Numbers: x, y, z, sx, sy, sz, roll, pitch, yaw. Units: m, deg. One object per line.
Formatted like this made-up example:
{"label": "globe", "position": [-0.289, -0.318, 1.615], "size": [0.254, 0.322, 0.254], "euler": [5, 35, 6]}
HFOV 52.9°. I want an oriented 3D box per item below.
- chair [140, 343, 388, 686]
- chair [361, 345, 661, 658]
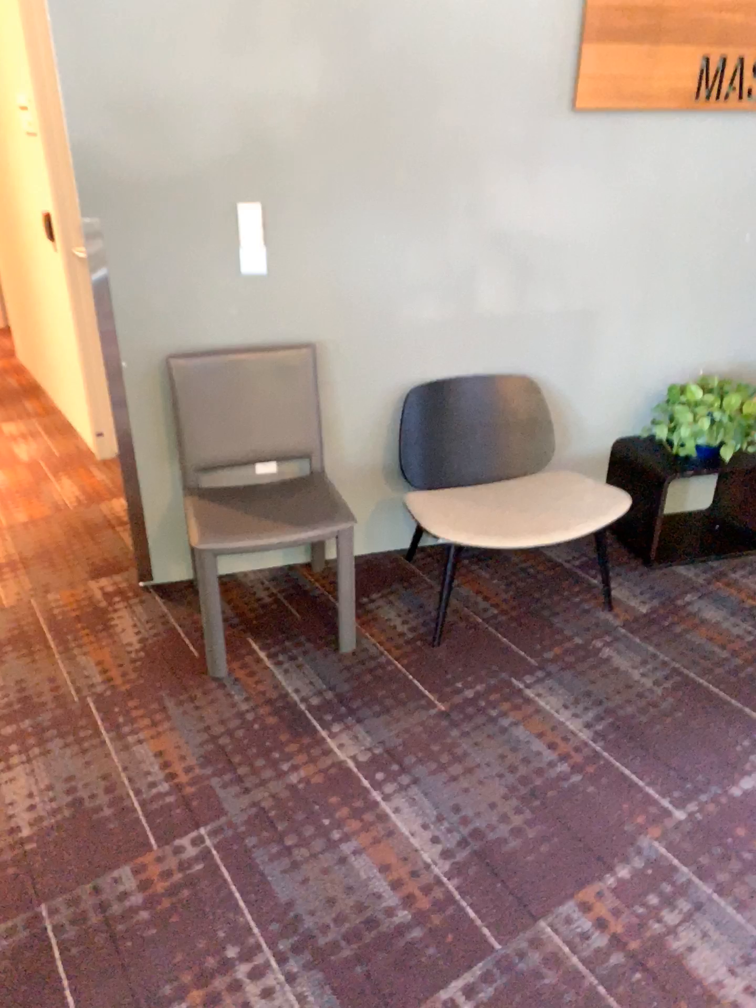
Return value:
{"label": "chair", "position": [-0.385, -0.011, 2.534], "size": [0.640, 0.835, 0.694], "euler": [-9, 28, -16]}
{"label": "chair", "position": [0.425, -0.056, 2.827], "size": [0.790, 0.835, 0.714], "euler": [-9, 28, -16]}
